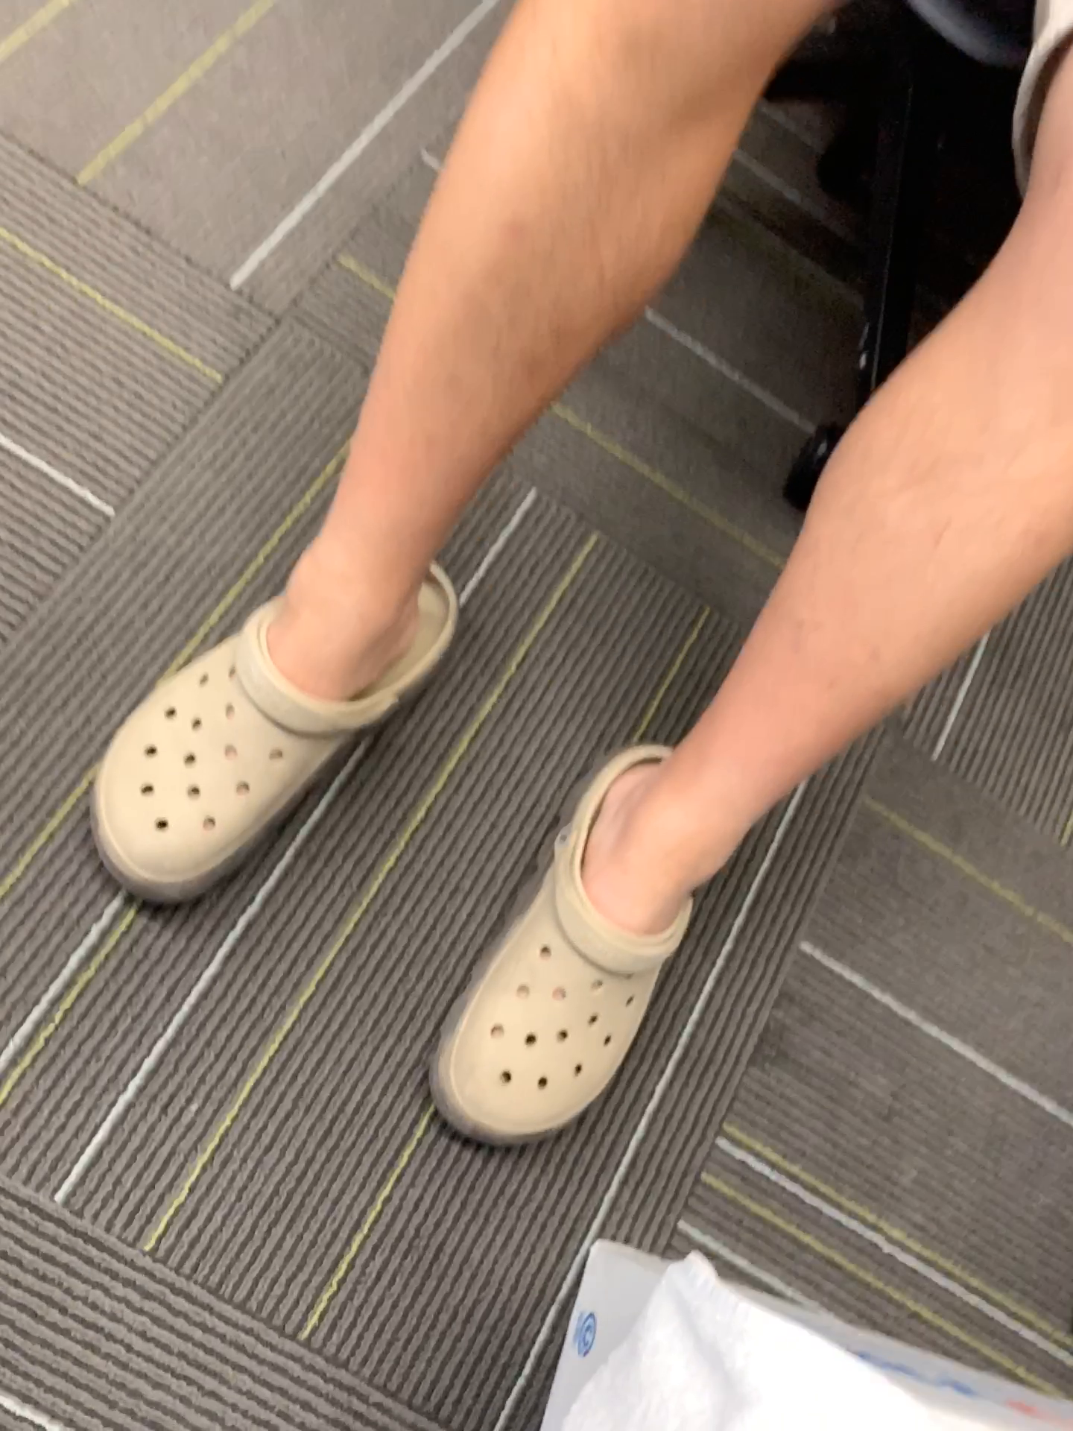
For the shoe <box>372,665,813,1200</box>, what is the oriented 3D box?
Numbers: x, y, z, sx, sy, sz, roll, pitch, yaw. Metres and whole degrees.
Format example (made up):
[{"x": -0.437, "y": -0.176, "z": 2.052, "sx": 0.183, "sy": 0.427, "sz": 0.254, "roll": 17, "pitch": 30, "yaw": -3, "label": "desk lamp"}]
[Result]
[{"x": 0.045, "y": 0.141, "z": 0.771, "sx": 0.140, "sy": 0.080, "sz": 0.330, "roll": 37, "pitch": 68, "yaw": -4, "label": "shoe"}]

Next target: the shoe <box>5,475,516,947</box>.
[{"x": -0.178, "y": -0.008, "z": 0.760, "sx": 0.134, "sy": 0.080, "sz": 0.321, "roll": 45, "pitch": 67, "yaw": 0, "label": "shoe"}]
